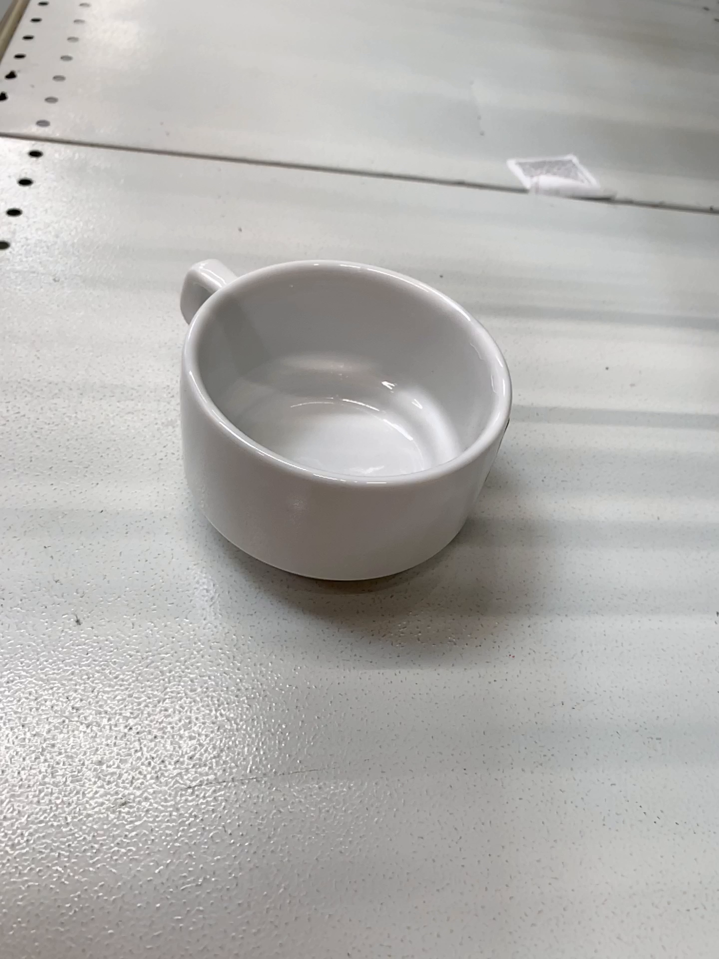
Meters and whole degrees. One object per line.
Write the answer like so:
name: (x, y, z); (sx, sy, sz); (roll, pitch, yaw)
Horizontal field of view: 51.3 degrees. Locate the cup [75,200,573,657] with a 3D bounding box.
cup: (-0.014, -0.023, 0.229); (0.091, 0.051, 0.111); (-30, 63, -31)
